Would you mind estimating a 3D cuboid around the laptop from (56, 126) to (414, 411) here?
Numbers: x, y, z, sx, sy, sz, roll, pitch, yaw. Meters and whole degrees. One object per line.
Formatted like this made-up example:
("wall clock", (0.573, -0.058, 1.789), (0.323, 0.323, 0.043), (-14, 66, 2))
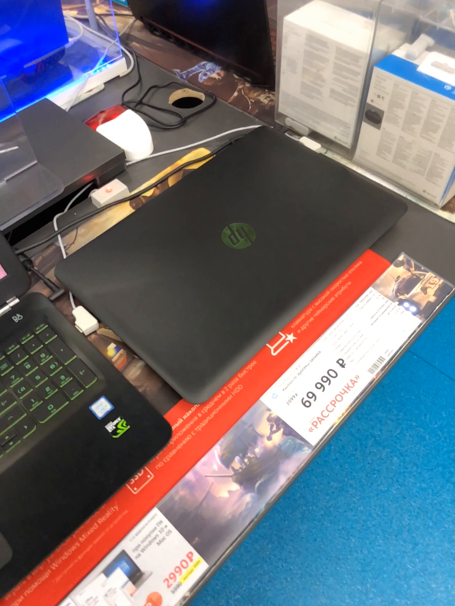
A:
("laptop", (0.018, -0.076, 0.604), (0.240, 0.006, 0.372), (39, 65, 24))
